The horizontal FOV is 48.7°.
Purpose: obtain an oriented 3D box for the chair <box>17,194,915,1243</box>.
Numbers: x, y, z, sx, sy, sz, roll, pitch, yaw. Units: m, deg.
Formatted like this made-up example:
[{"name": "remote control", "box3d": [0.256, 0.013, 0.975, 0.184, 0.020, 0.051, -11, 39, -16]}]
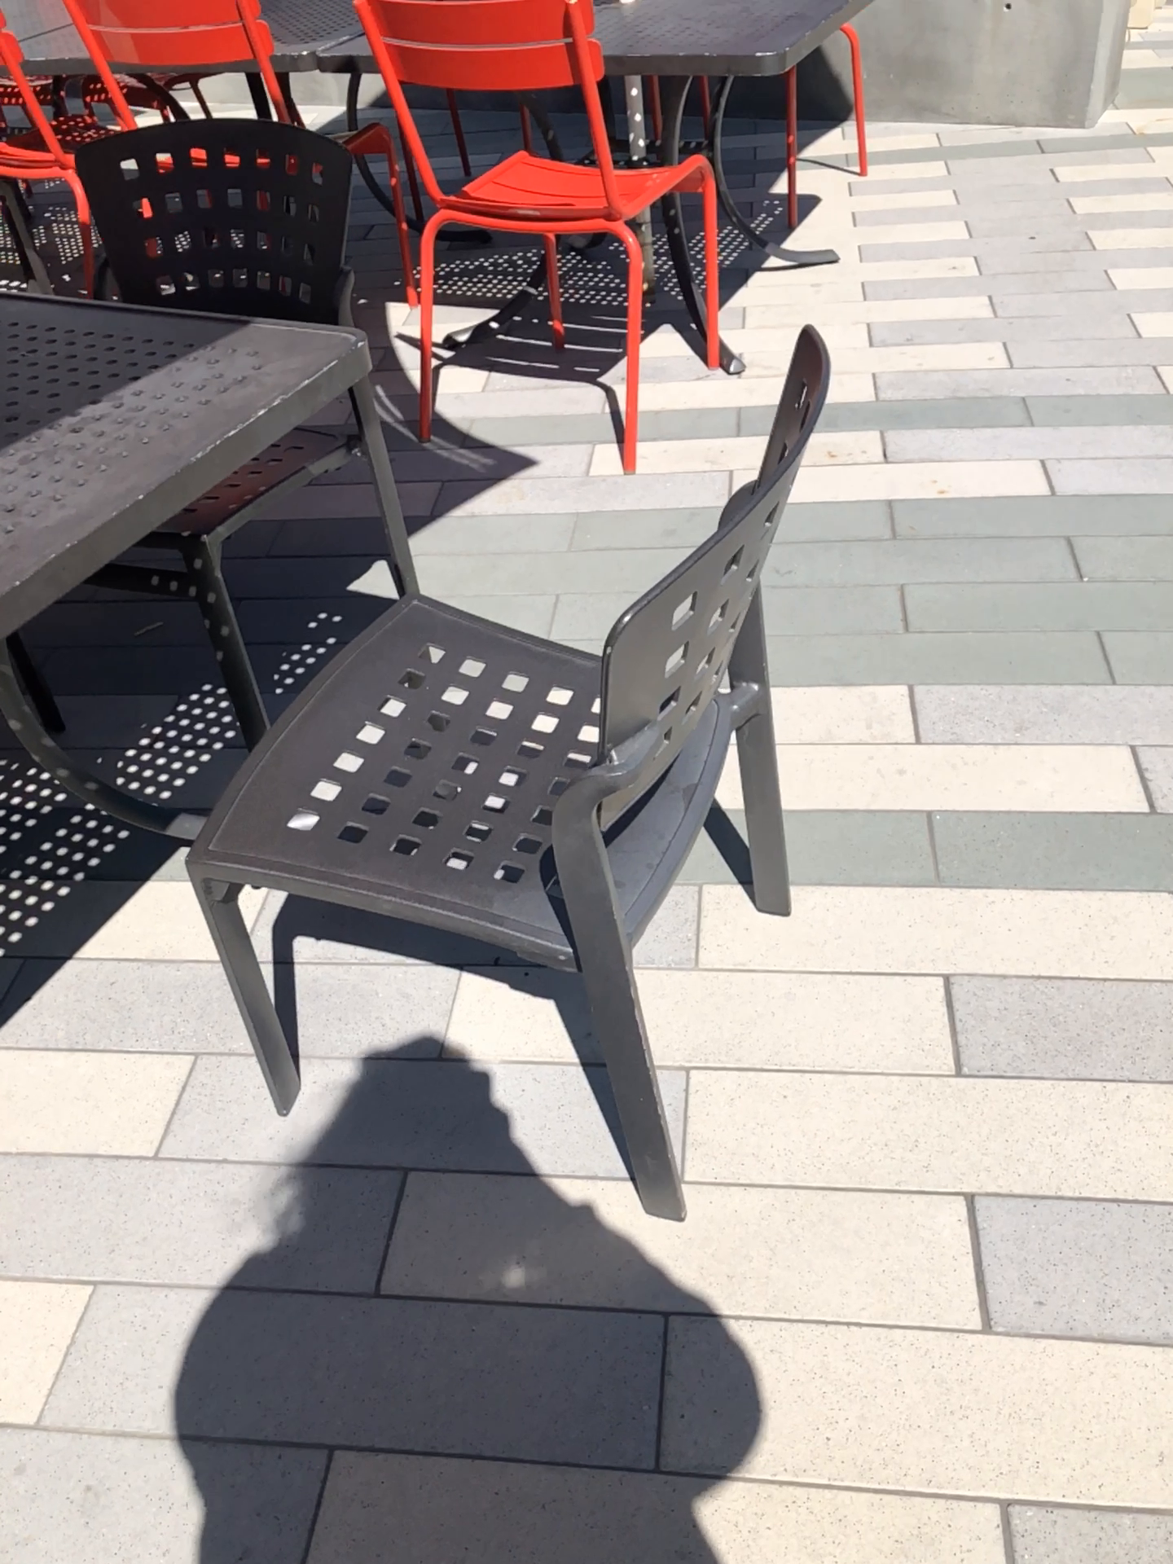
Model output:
[{"name": "chair", "box3d": [-0.045, -0.064, 1.235, 0.531, 0.756, 0.522, 11, 42, 14]}]
